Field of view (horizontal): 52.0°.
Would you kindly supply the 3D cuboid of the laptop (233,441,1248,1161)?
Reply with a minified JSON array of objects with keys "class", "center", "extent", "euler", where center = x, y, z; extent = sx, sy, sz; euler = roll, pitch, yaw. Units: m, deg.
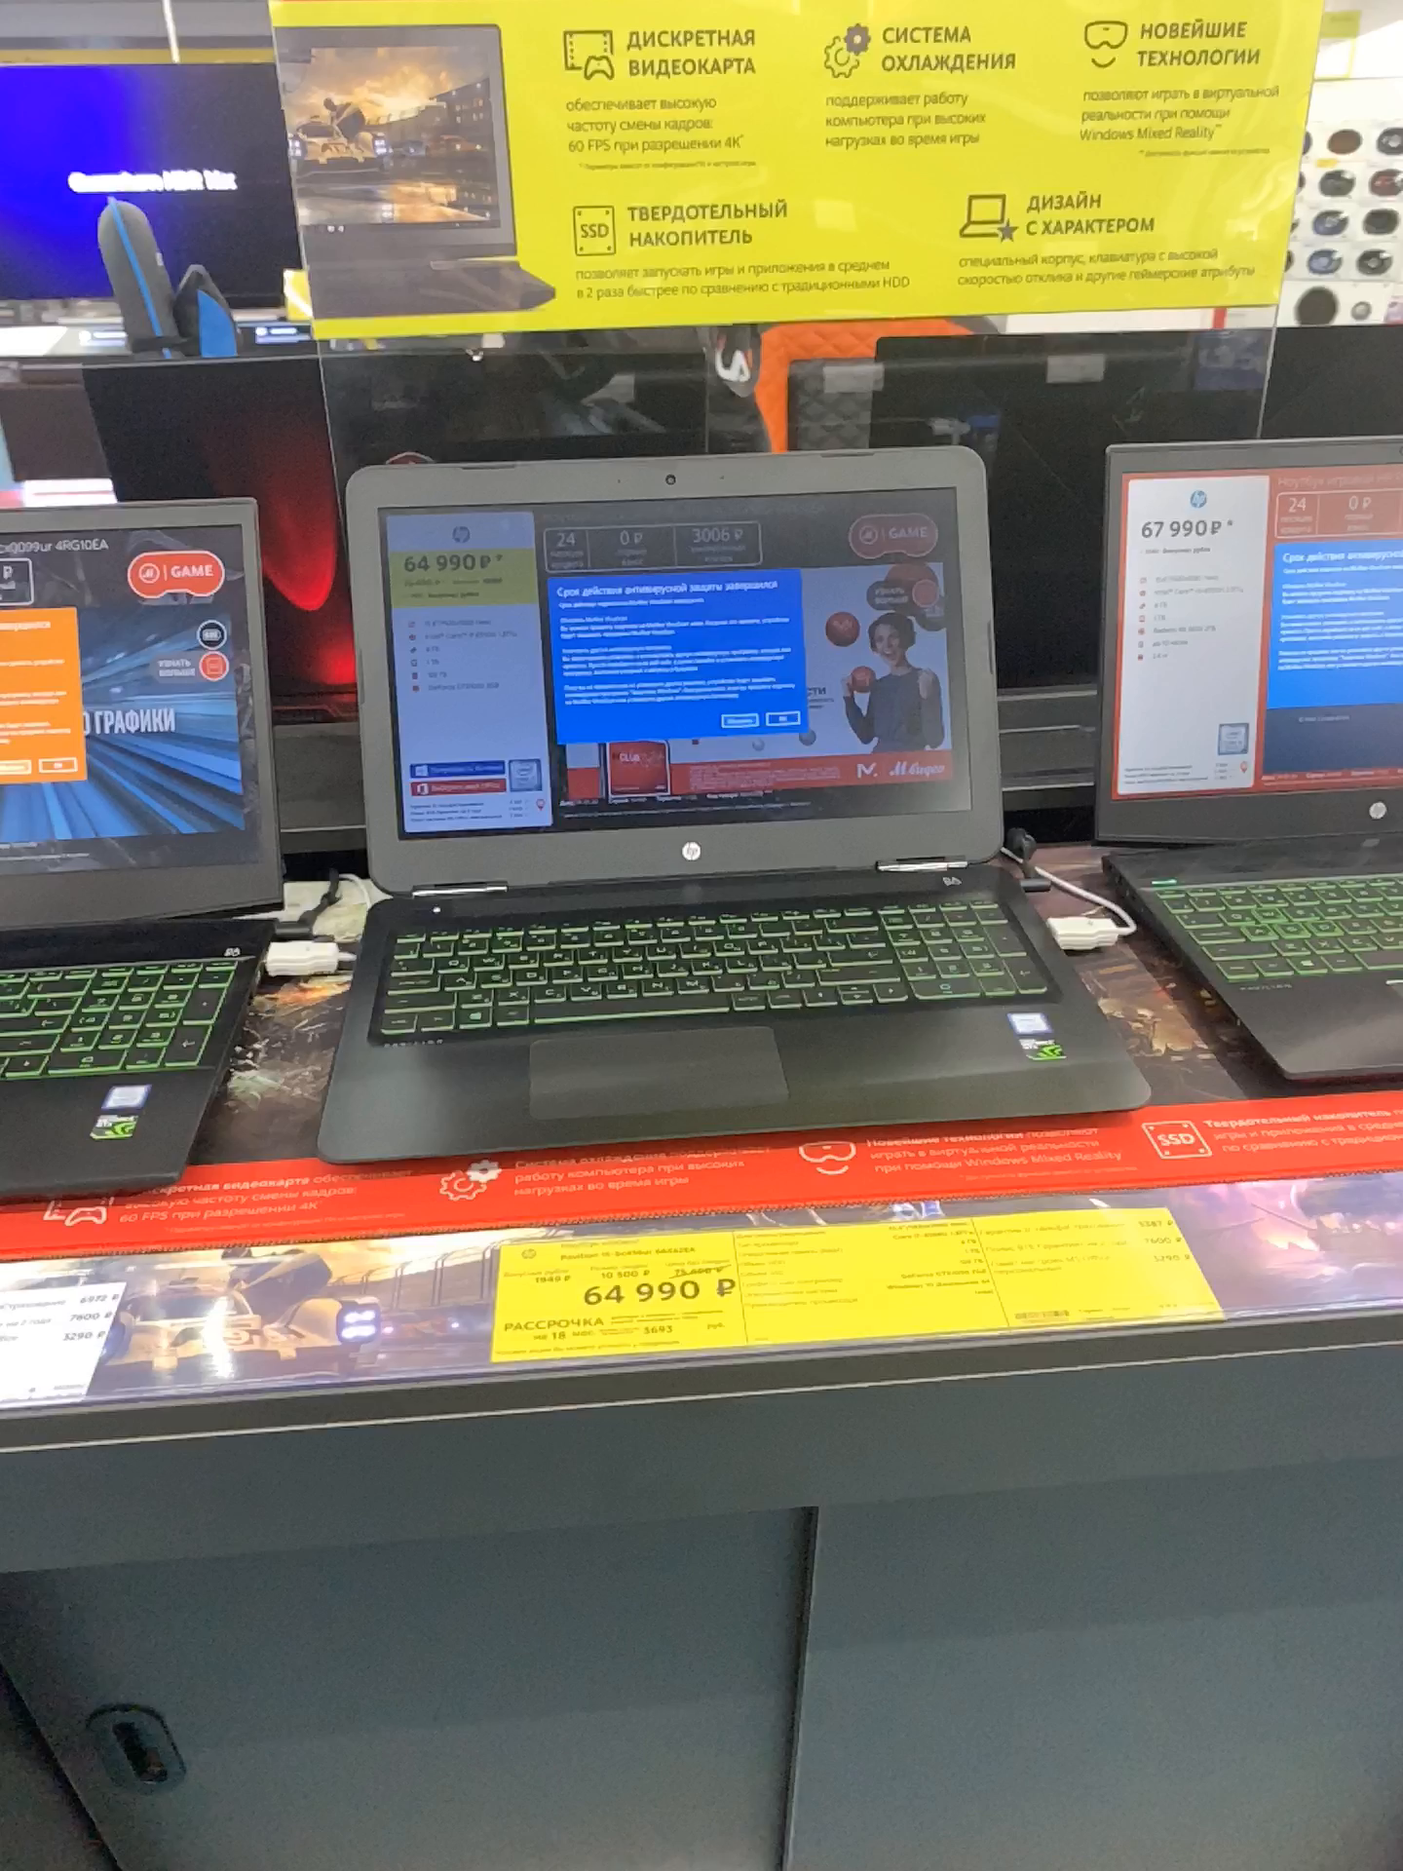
[{"class":"laptop","center":[0.001,-0.104,0.755],"extent":[0.384,0.223,0.381],"euler":[-3,29,-5]}]
